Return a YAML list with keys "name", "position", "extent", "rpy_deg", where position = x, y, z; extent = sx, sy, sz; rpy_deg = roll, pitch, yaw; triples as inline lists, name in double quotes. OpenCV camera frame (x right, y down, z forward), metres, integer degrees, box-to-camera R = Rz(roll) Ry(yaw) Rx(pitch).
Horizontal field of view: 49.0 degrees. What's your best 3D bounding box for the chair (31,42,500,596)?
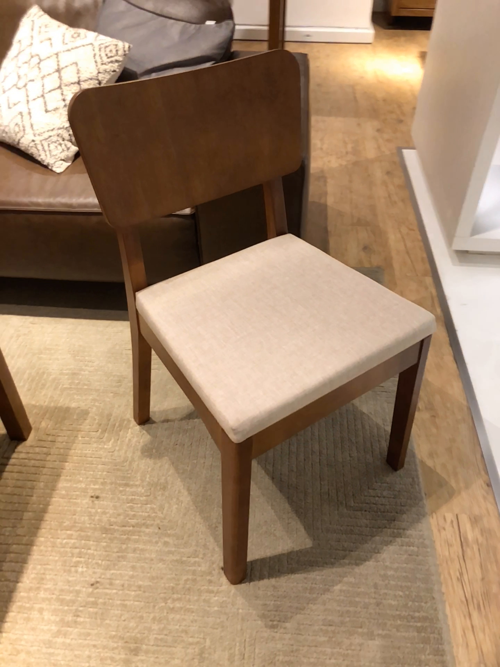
- name: "chair"
  position: [0.019, -0.034, 1.071]
  extent: [0.511, 0.794, 0.533]
  rpy_deg: [-25, 47, -26]
